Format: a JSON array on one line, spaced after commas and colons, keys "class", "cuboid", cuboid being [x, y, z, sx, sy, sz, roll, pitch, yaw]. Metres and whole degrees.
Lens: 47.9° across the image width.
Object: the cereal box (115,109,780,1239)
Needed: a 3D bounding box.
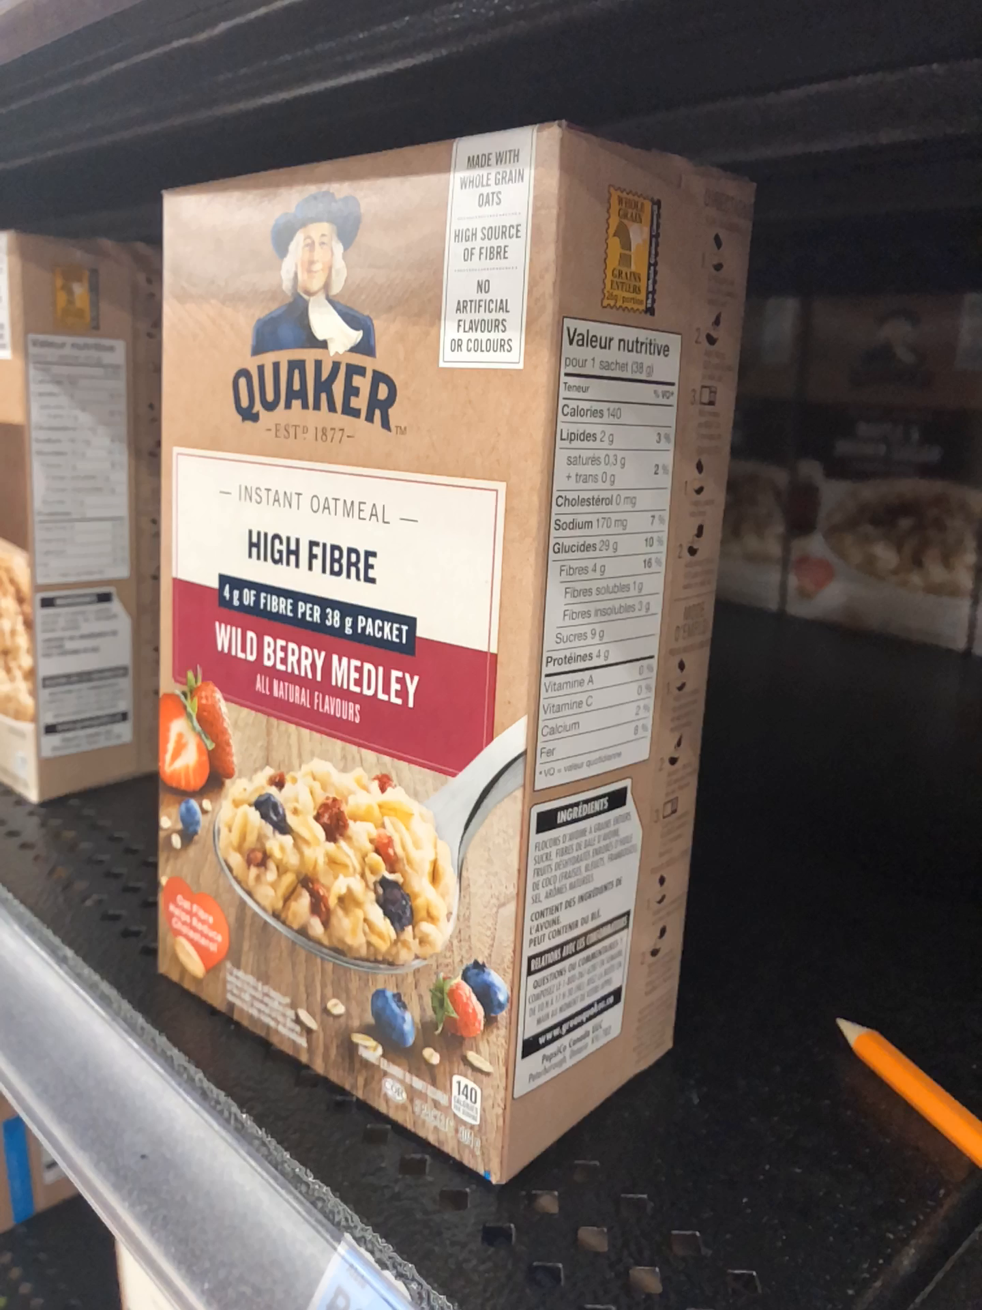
[{"class": "cereal box", "cuboid": [-0.020, -0.003, 0.258, 0.130, 0.200, 0.070, 13, 15, 39]}]
